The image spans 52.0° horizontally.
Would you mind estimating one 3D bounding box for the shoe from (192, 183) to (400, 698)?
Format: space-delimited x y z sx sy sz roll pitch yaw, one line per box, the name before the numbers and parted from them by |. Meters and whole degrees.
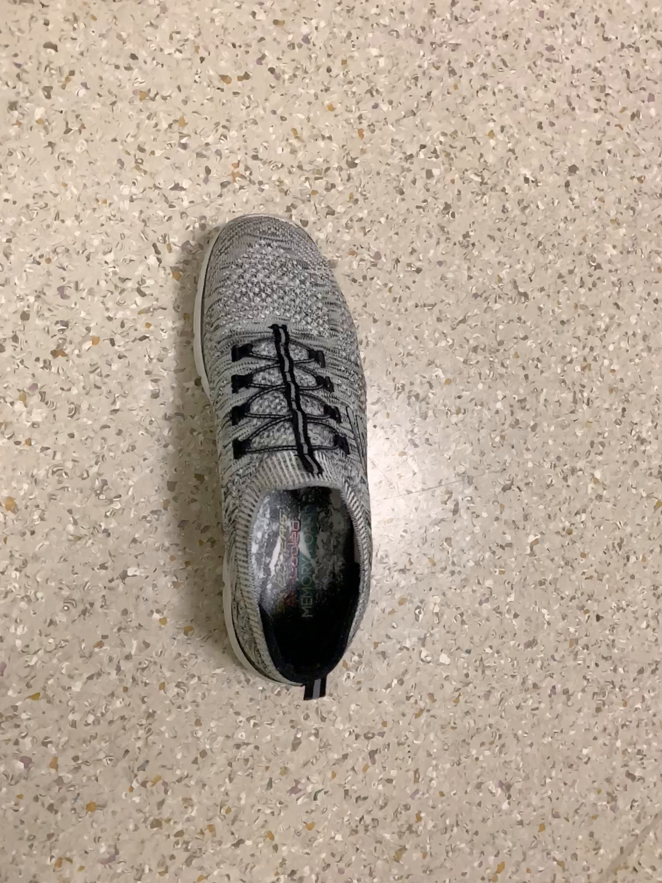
shoe | -0.024 0.000 0.375 0.094 0.093 0.241 1 87 -17
